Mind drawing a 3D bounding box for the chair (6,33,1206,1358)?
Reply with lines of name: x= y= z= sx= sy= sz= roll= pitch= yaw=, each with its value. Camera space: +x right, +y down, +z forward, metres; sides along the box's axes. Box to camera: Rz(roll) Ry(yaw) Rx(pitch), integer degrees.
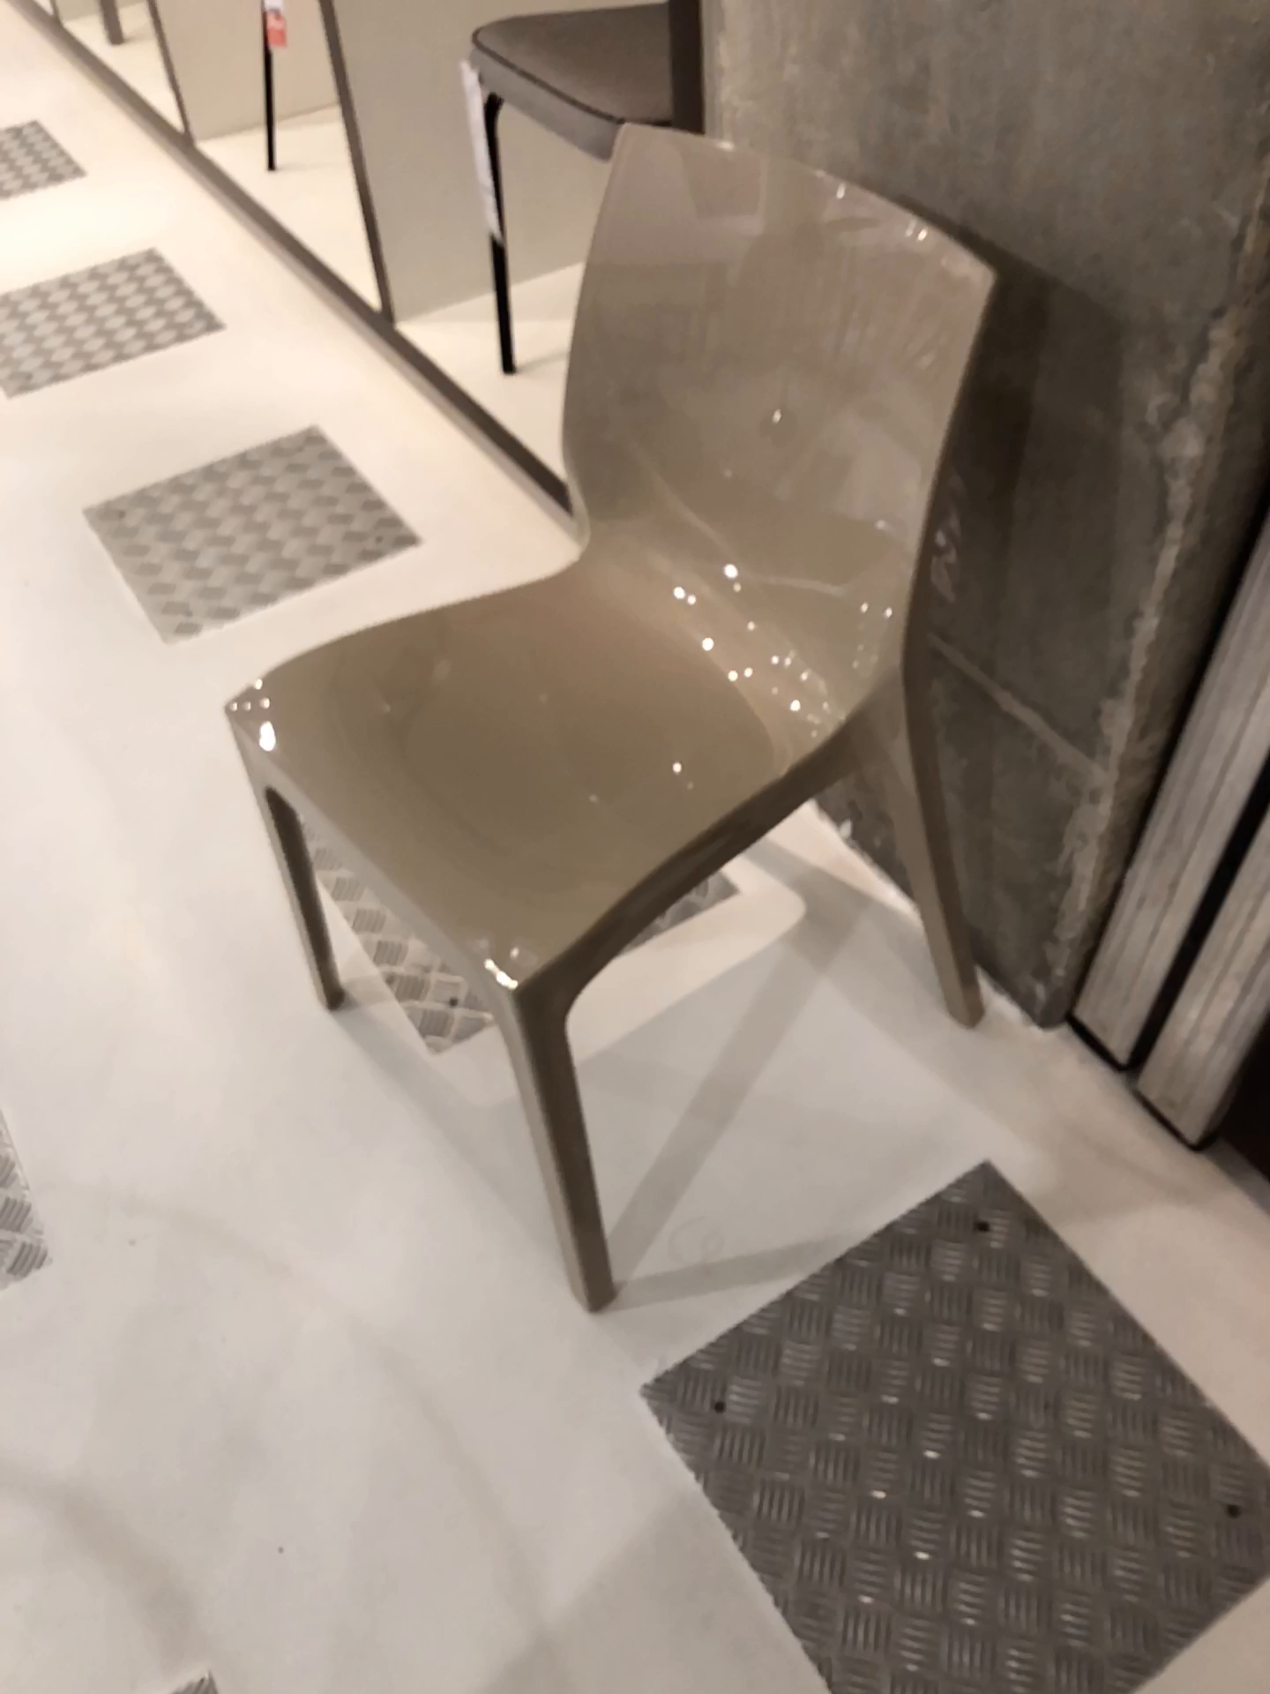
chair: x=-0.013 y=-0.111 z=1.220 sx=0.562 sy=0.824 sz=0.552 roll=-33 pitch=54 yaw=-23
